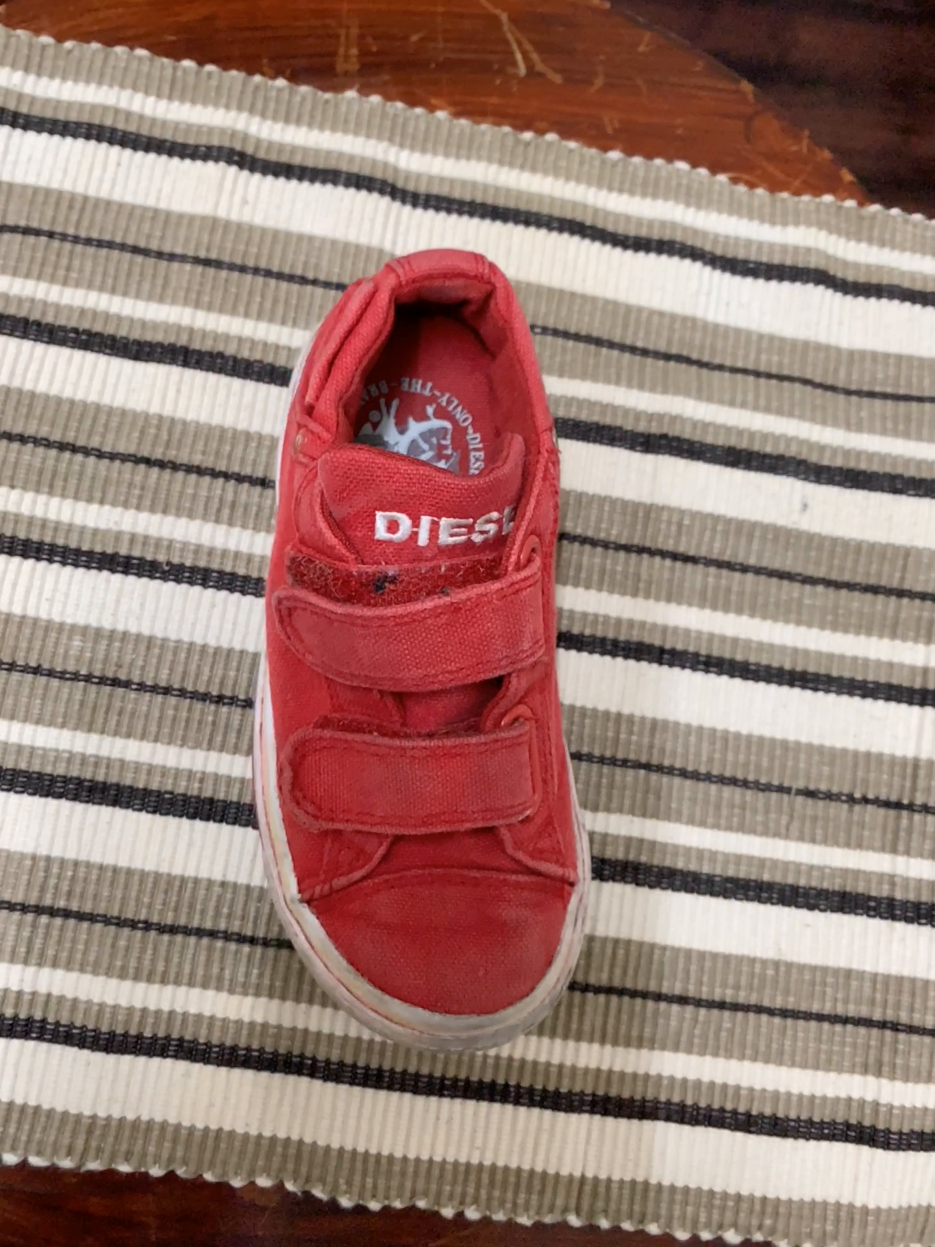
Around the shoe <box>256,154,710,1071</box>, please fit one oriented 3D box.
[{"bbox_3d":[-0.002,-0.004,0.218,0.080,0.070,0.170,-1,83,-6],"label":"shoe"}]
